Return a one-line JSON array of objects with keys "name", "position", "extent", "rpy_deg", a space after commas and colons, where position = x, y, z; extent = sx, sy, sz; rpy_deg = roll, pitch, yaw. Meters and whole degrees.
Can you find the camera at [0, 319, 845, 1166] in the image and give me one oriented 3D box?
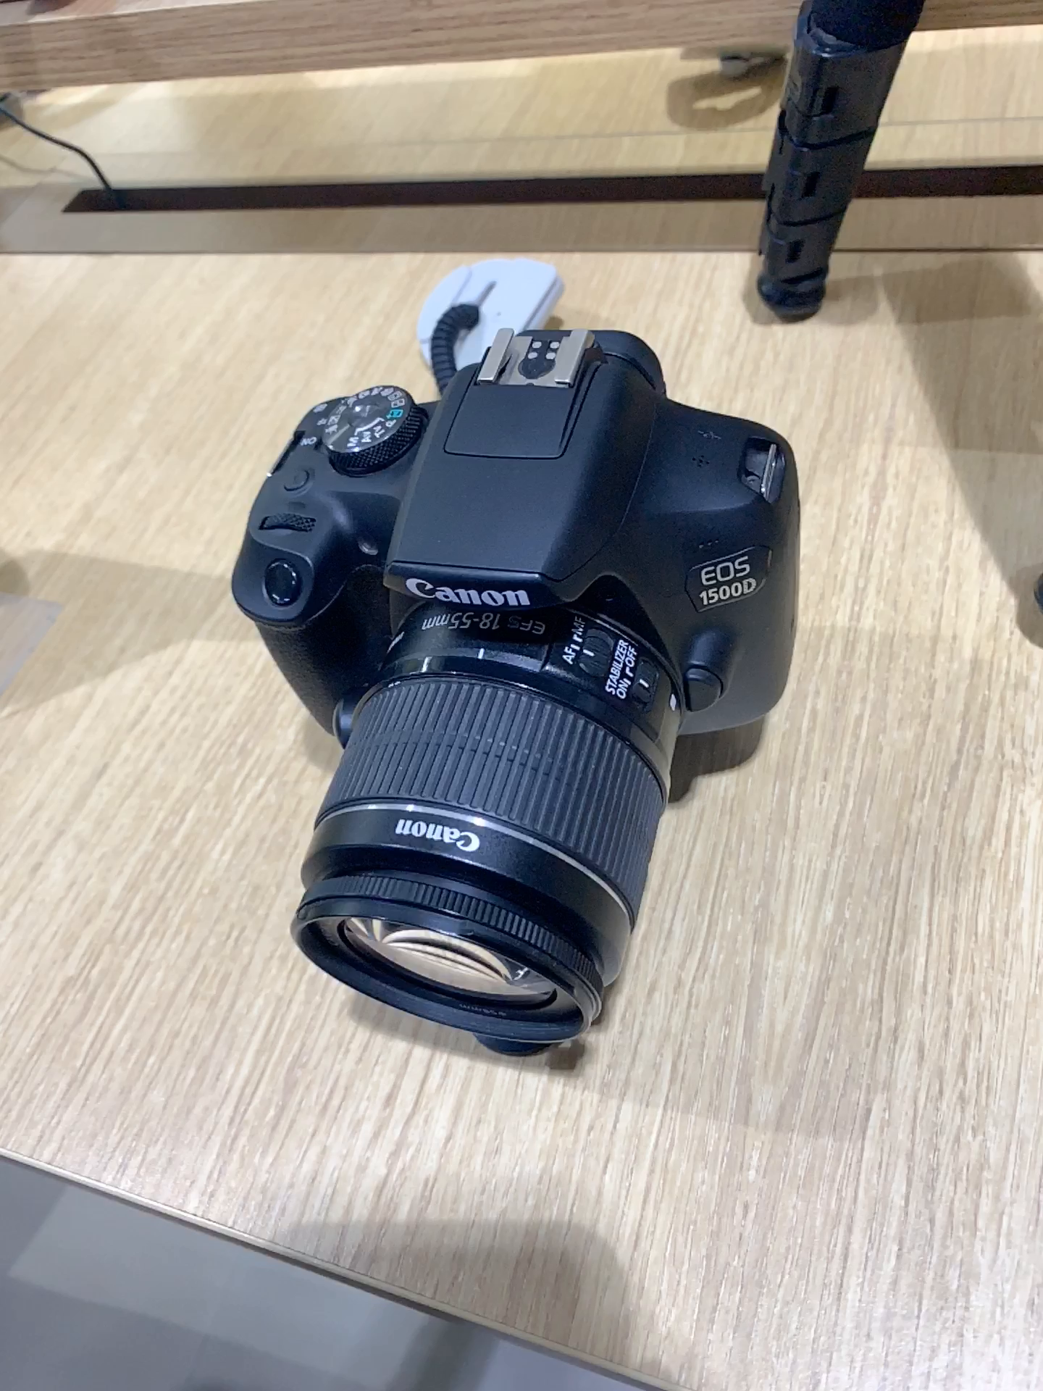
[{"name": "camera", "position": [-0.002, 0.002, 0.229], "extent": [0.121, 0.088, 0.140], "rpy_deg": [5, 55, 18]}]
